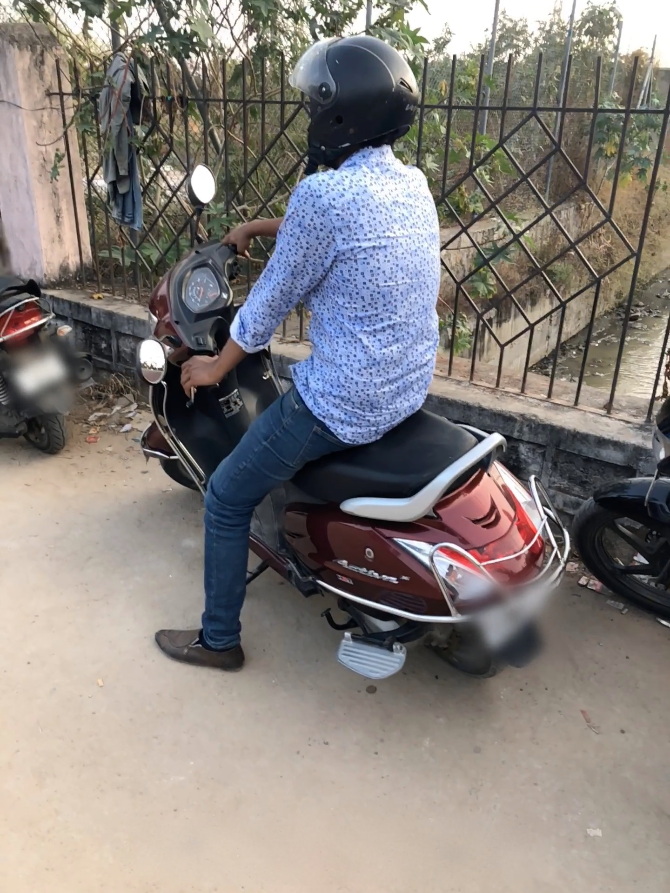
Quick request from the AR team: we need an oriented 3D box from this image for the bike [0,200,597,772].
[{"bbox_3d":[-0.235,-0.047,2.004,1.490,0.963,0.579,23,32,35],"label":"bike"}]
